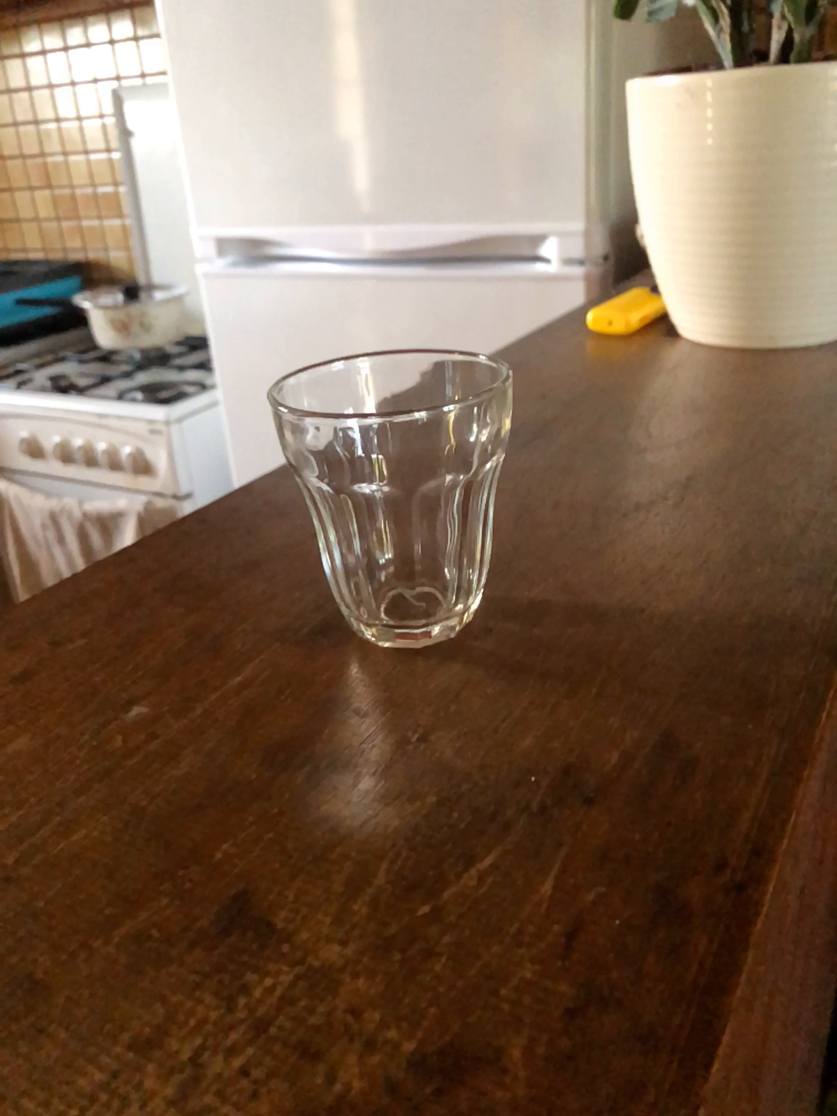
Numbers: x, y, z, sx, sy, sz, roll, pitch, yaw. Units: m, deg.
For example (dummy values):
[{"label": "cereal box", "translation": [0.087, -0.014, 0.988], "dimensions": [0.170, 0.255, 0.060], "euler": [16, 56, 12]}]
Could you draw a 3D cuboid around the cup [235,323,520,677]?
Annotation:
[{"label": "cup", "translation": [-0.011, -0.022, 0.287], "dimensions": [0.070, 0.080, 0.080], "euler": [-5, 25, -1]}]
